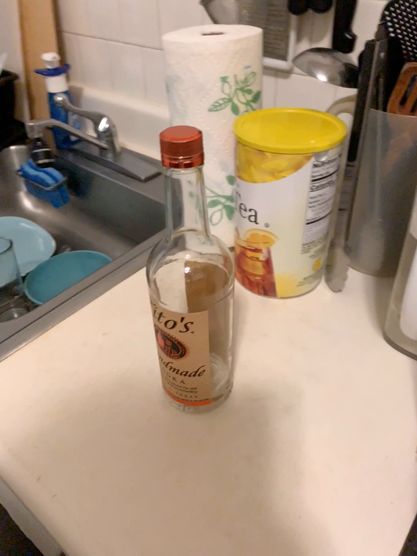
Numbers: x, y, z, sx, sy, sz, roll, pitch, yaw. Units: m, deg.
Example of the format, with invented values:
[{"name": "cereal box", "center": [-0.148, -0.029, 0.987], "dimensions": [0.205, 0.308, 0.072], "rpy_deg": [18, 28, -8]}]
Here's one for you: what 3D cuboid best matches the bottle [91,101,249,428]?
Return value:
[{"name": "bottle", "center": [-0.026, 0.005, 0.396], "dimensions": [0.080, 0.288, 0.080], "rpy_deg": [-1, 39, 0]}]
